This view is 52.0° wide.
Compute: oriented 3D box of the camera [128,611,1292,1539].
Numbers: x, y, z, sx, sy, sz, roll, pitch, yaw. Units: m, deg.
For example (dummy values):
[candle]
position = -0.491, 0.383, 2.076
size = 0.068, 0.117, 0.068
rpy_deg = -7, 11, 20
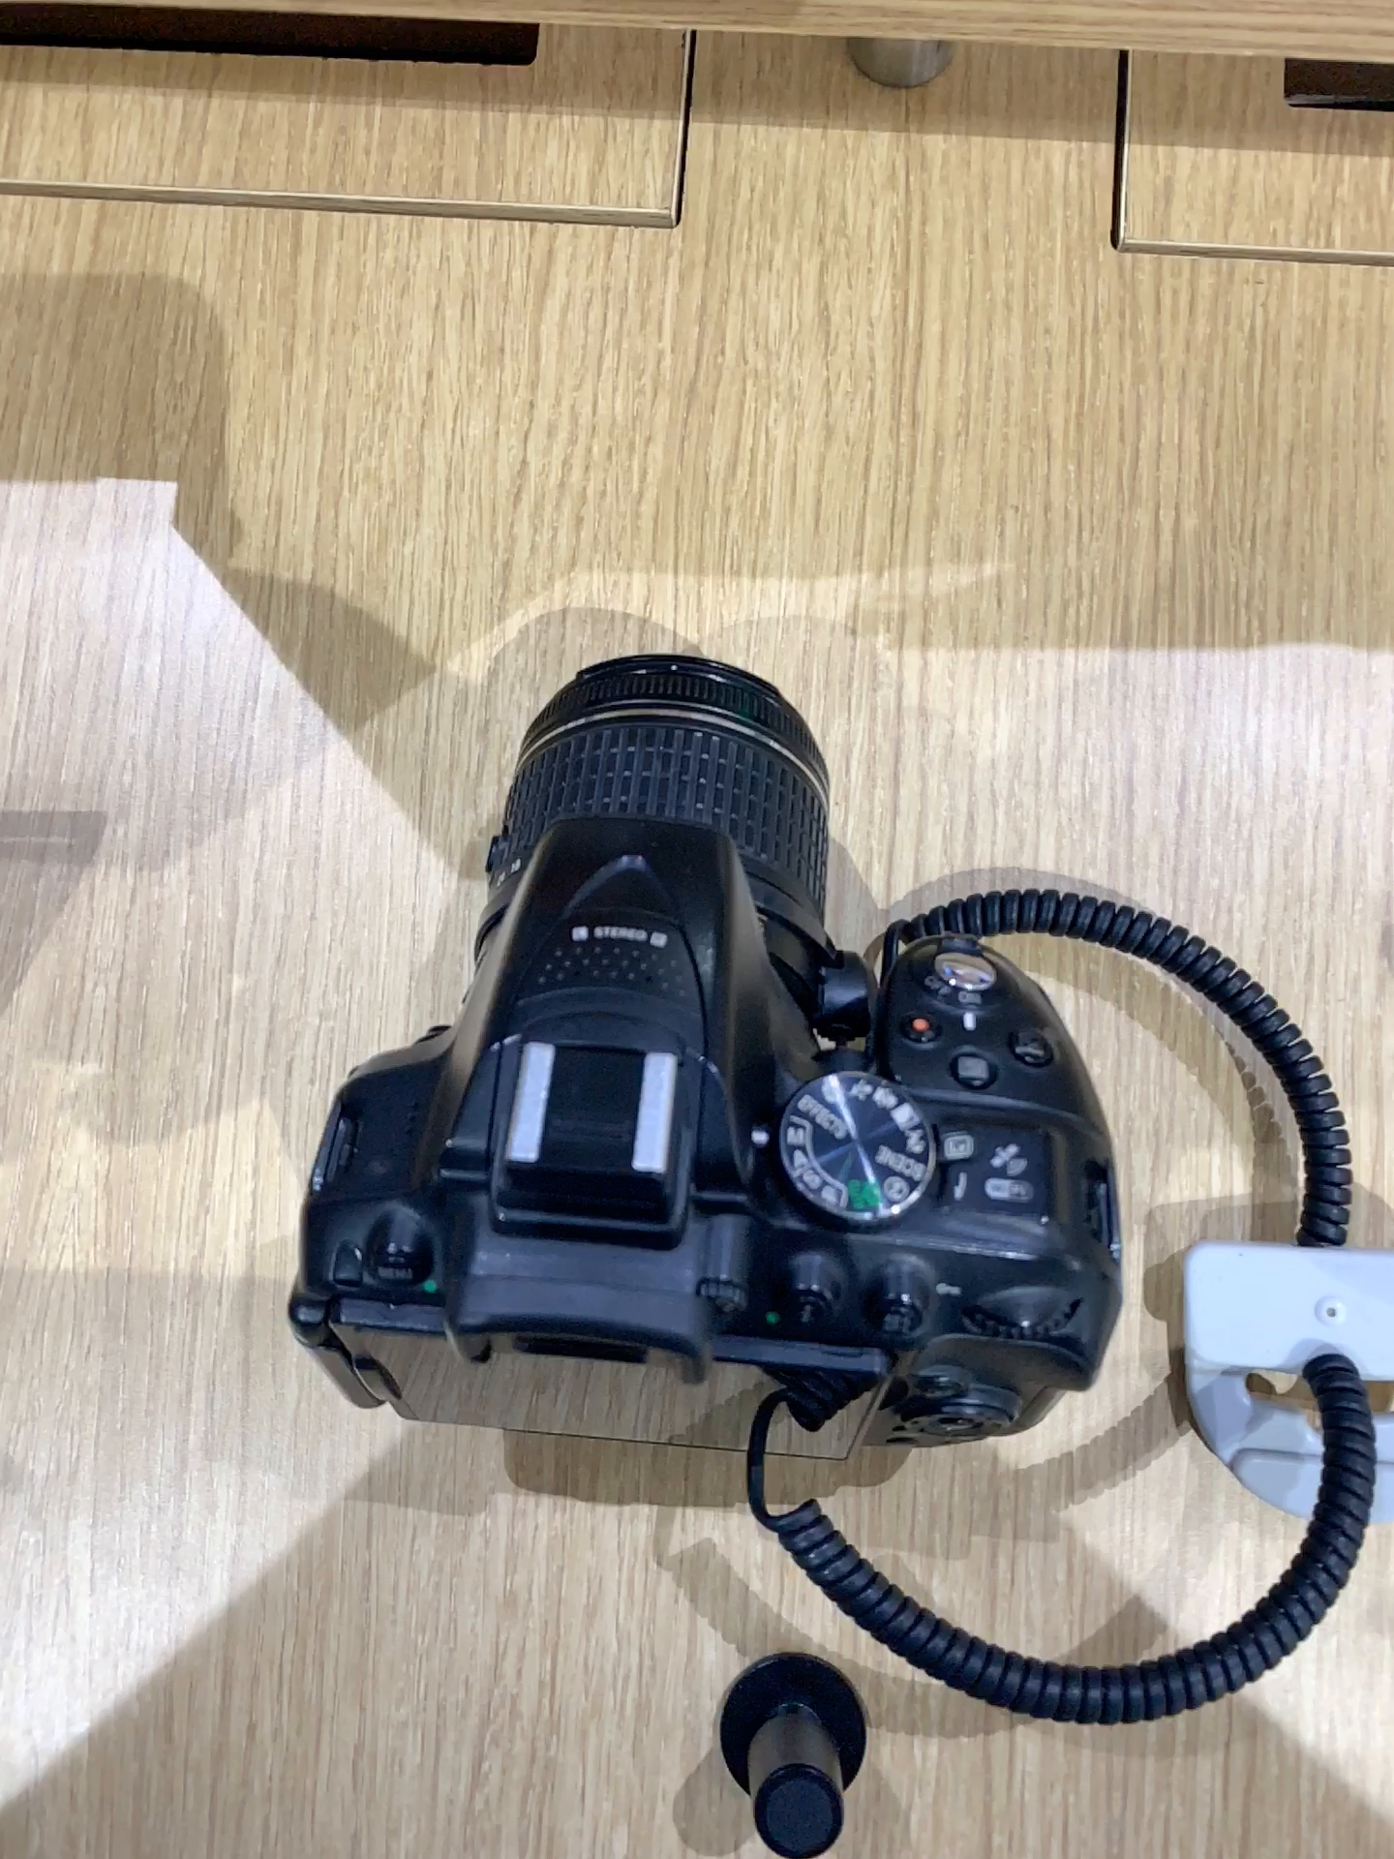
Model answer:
[camera]
position = 0.005, 0.024, 0.221
size = 0.130, 0.080, 0.110
rpy_deg = 4, 60, 3
